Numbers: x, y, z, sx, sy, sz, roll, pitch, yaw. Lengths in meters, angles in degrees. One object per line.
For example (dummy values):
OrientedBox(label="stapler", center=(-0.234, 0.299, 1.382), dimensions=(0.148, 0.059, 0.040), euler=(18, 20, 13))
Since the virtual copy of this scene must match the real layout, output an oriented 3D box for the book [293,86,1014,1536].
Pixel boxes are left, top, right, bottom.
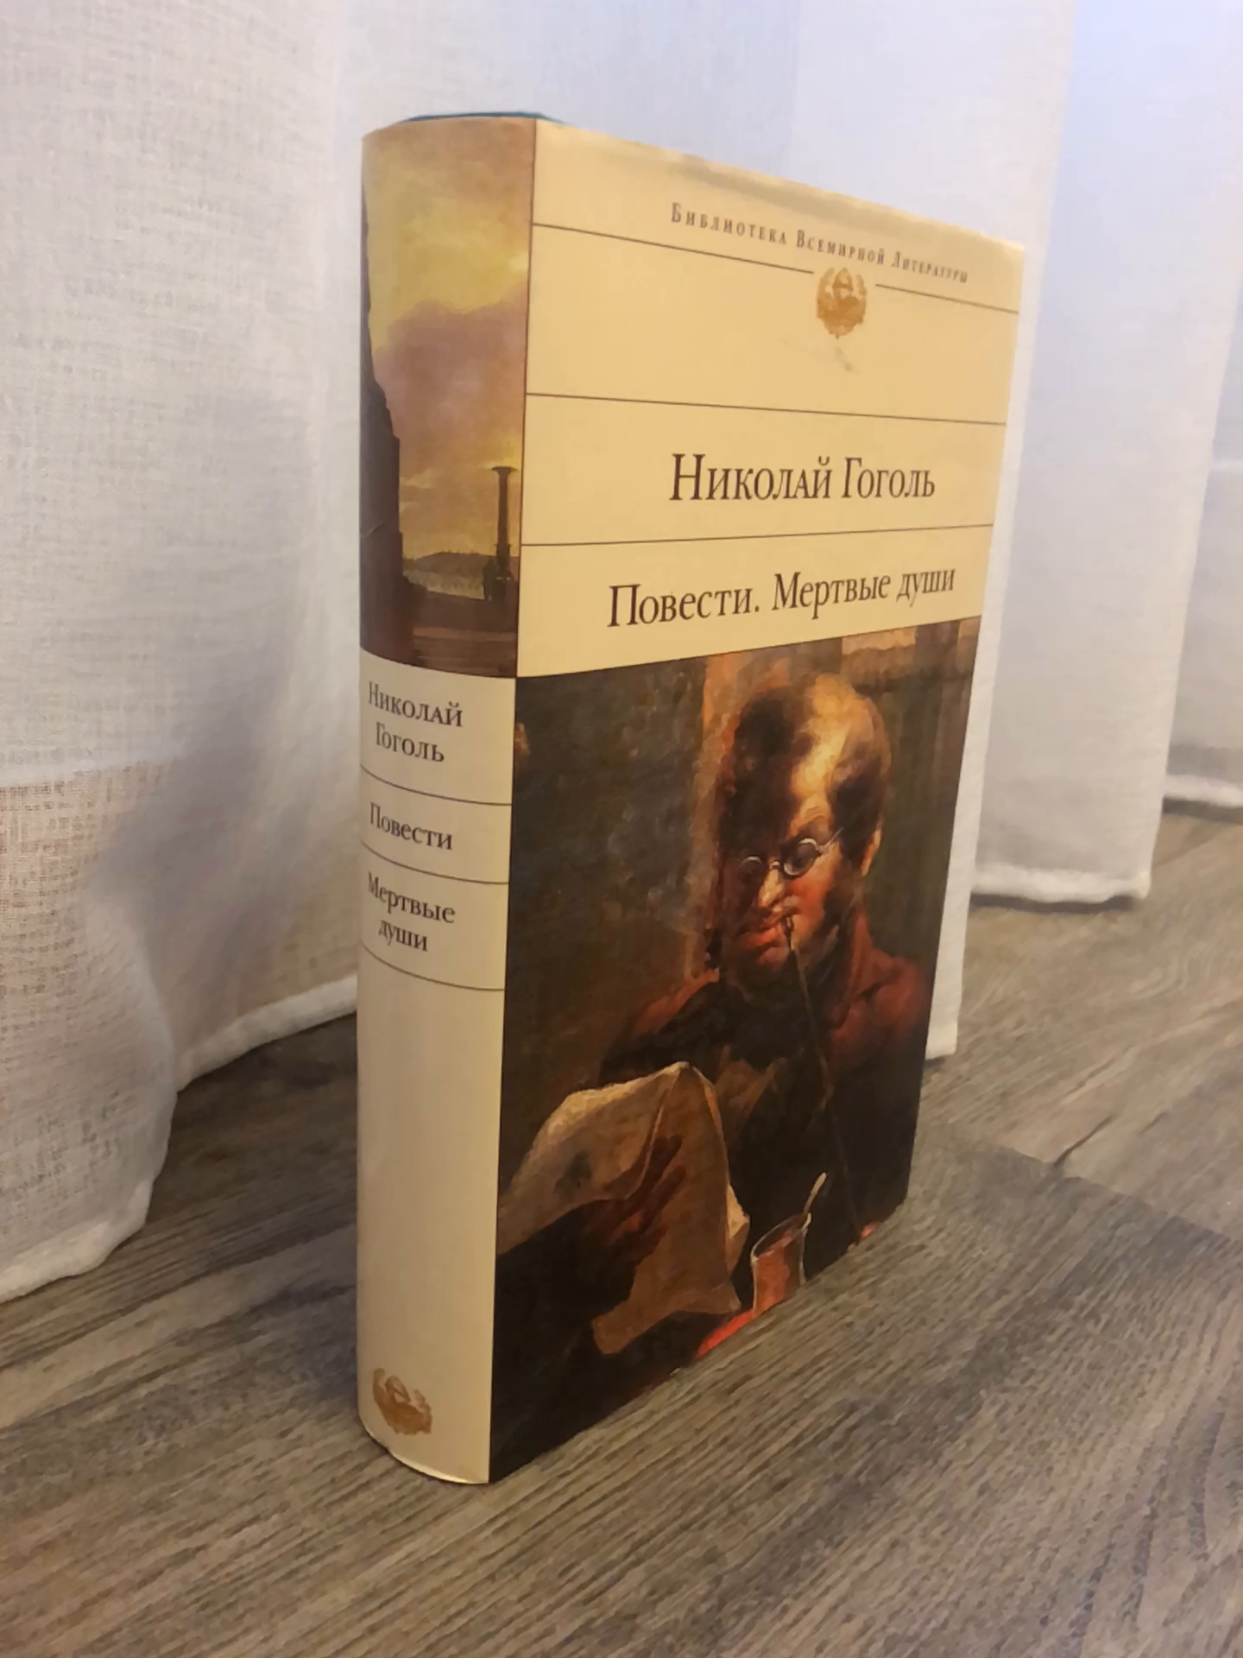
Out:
OrientedBox(label="book", center=(0.009, -0.004, 0.255), dimensions=(0.041, 0.210, 0.134), euler=(16, 21, 39))
